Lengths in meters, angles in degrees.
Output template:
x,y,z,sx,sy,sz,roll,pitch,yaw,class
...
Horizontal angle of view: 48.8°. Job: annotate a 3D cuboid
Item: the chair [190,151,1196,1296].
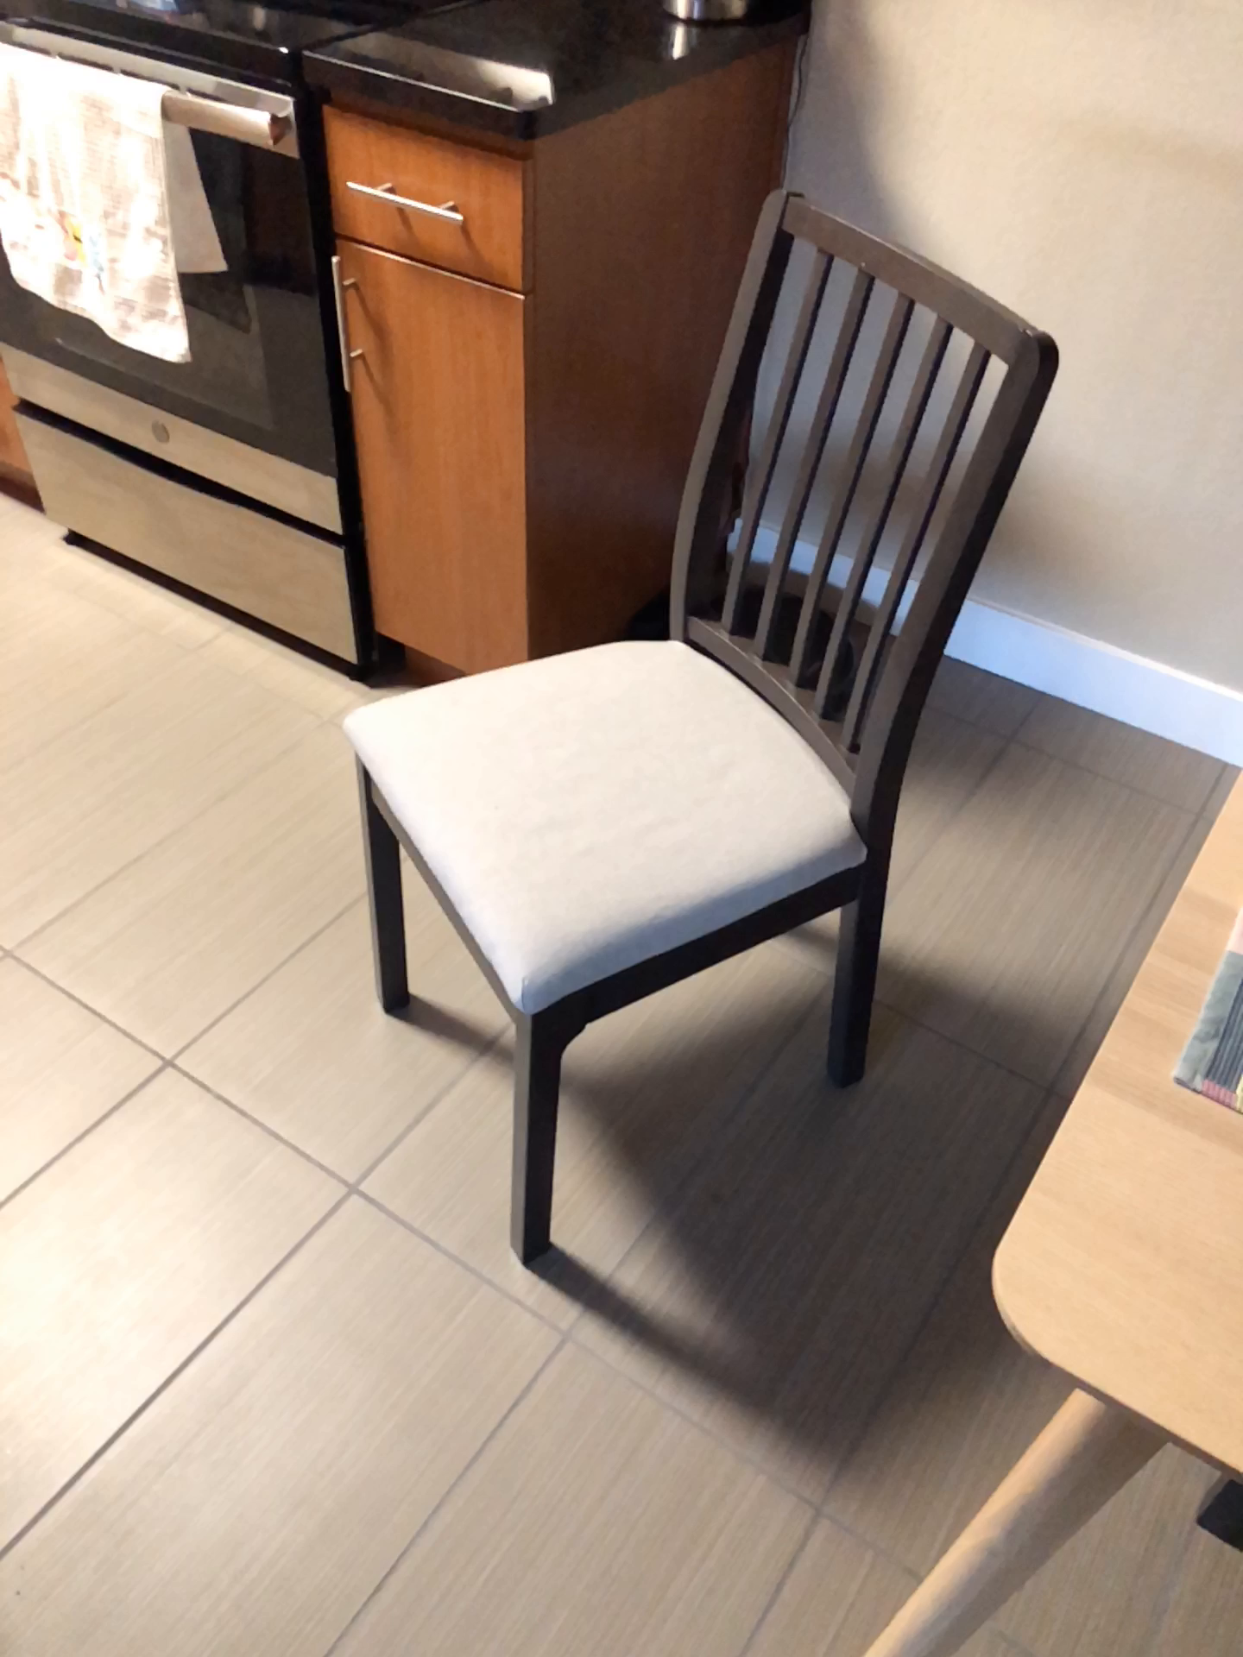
x,y,z,sx,sy,sz,roll,pitch,yaw,class
0.011,-0.113,1.377,0.591,0.846,0.582,-19,47,-23,chair
